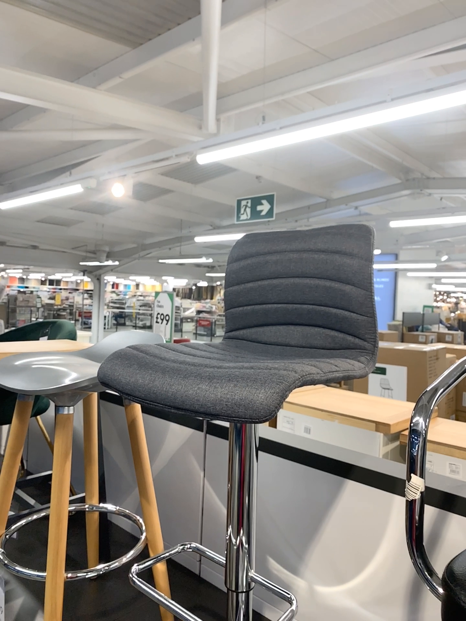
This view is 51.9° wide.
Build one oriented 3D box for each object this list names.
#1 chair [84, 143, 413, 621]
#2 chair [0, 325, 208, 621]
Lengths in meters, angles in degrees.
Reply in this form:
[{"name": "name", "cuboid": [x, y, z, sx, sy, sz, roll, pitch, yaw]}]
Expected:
[{"name": "chair", "cuboid": [0.047, 0.283, 0.958, 0.446, 1.030, 0.452, 1, -1, 39]}, {"name": "chair", "cuboid": [-0.393, 0.422, 1.229, 0.446, 0.740, 0.452, 1, -1, 39]}]
